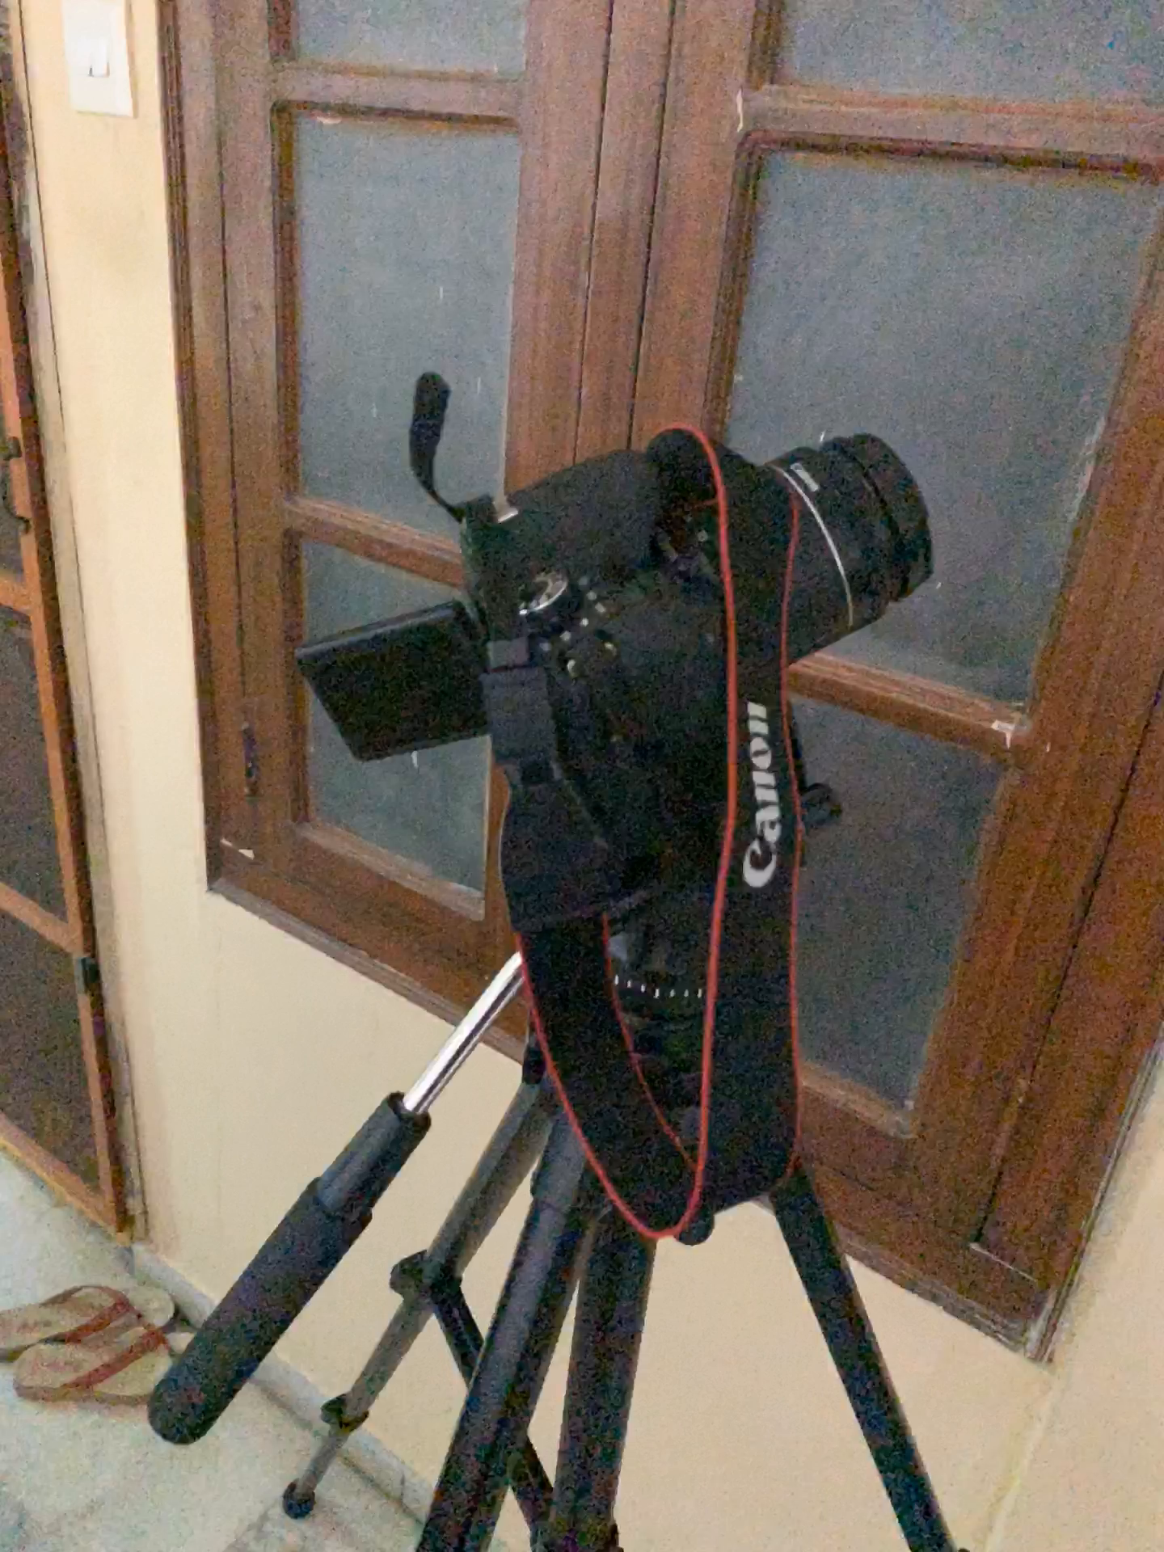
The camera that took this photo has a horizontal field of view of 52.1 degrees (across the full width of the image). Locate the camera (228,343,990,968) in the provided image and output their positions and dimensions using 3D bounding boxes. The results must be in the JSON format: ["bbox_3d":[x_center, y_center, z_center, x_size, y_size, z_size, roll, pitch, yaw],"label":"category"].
[{"bbox_3d":[0.003,-0.056,0.434,0.225,0.100,0.142,-25,32,-6],"label":"camera"}]
